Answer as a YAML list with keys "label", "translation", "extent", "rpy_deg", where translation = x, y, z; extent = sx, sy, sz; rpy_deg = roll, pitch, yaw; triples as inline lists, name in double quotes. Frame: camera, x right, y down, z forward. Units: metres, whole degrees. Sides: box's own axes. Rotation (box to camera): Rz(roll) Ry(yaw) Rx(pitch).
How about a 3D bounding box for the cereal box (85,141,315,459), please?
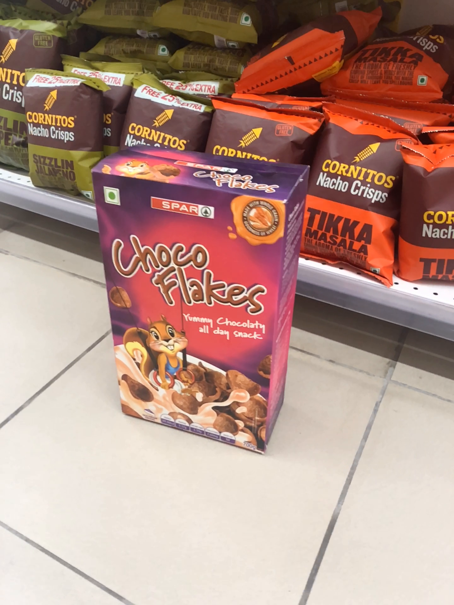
- label: "cereal box"
  translation: [-0.026, 0.009, 0.576]
  extent: [0.200, 0.339, 0.090]
  rpy_deg: [12, 37, 15]
